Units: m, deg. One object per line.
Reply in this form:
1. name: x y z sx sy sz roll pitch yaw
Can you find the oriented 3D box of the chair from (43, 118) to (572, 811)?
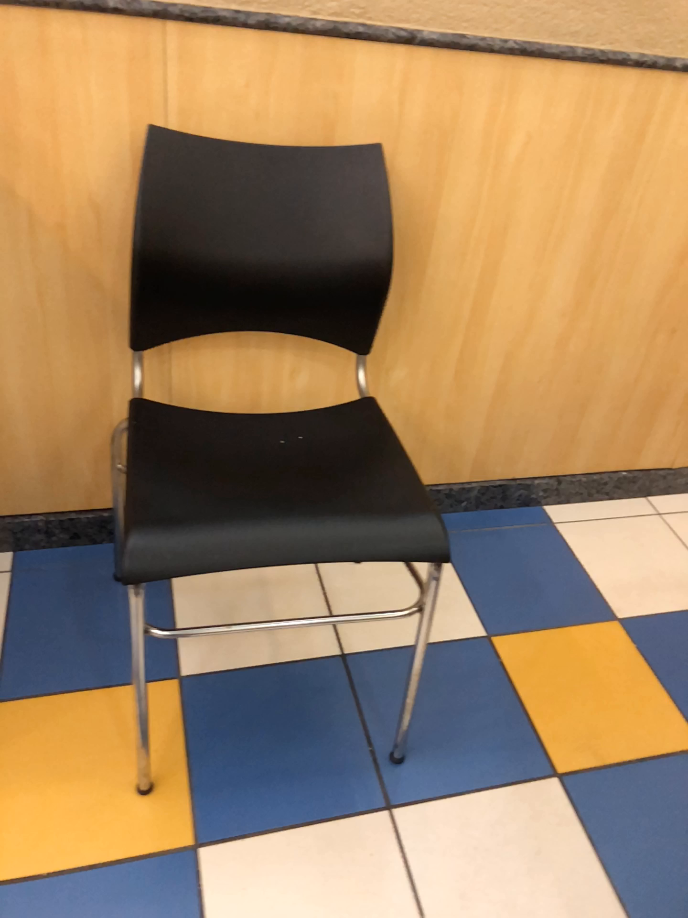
1. chair: -0.123 0.020 1.186 0.510 0.873 0.554 -1 37 -14
